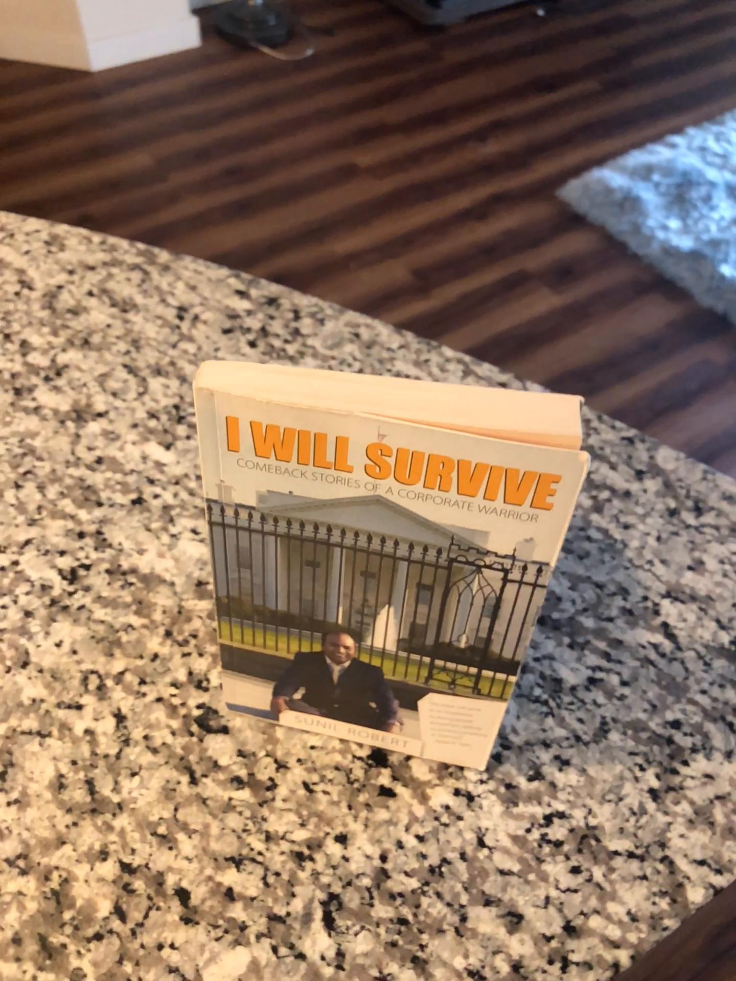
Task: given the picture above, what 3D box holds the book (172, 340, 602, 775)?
[{"bbox_3d":[0.000,0.040,0.329,0.134,0.191,0.032,9,43,4],"label":"book"}]
